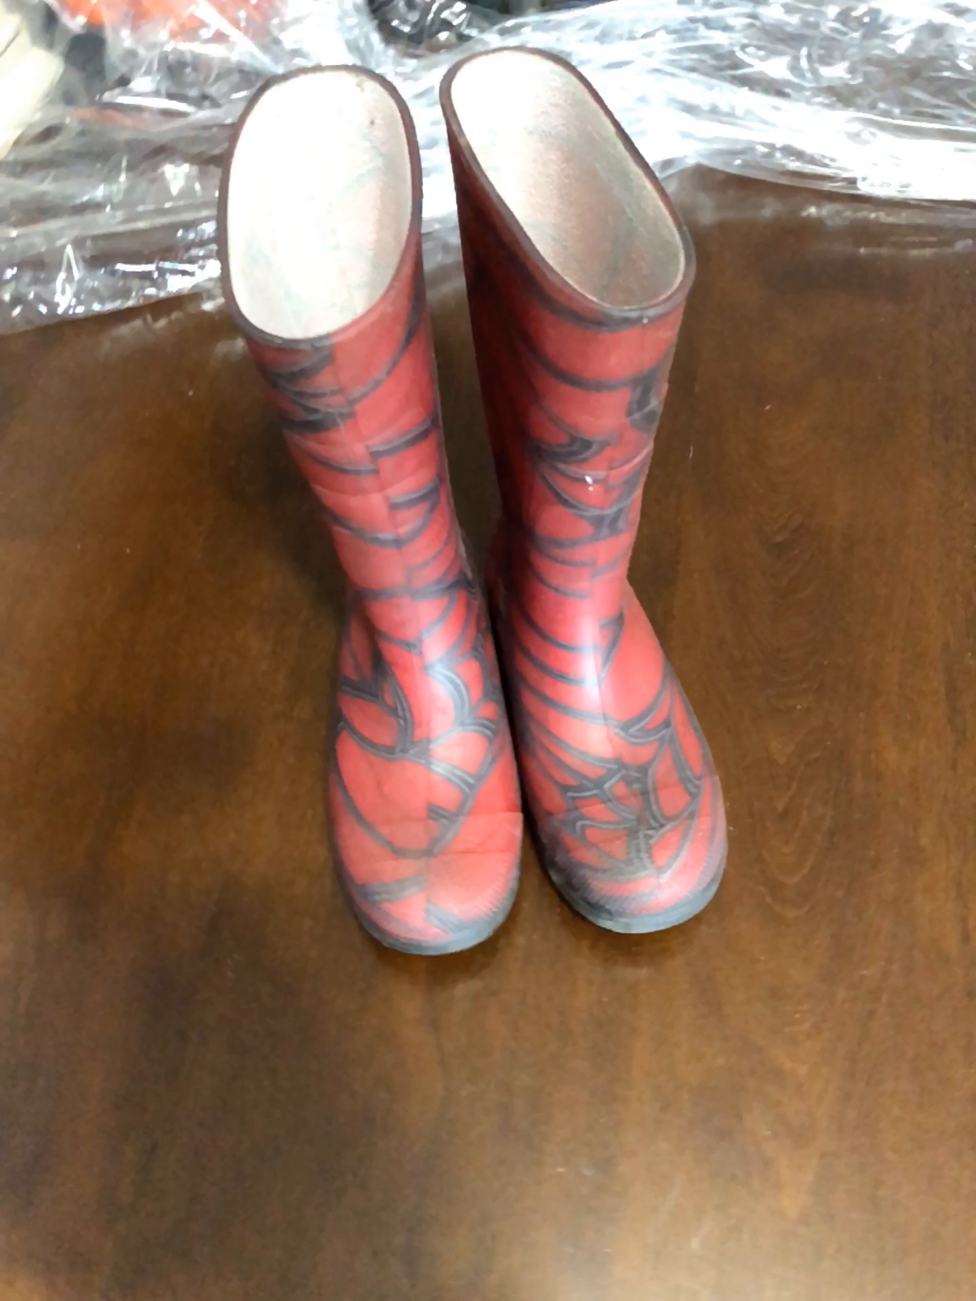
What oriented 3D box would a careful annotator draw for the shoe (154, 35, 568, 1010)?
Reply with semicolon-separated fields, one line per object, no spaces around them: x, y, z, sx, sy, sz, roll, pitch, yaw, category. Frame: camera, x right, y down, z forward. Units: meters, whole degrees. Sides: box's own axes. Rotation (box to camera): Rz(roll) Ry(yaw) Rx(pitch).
-0.036;-0.026;0.368;0.080;0.239;0.220;-8;57;-3;shoe

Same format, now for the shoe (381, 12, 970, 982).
0.036;-0.036;0.375;0.080;0.239;0.220;-13;58;-6;shoe
